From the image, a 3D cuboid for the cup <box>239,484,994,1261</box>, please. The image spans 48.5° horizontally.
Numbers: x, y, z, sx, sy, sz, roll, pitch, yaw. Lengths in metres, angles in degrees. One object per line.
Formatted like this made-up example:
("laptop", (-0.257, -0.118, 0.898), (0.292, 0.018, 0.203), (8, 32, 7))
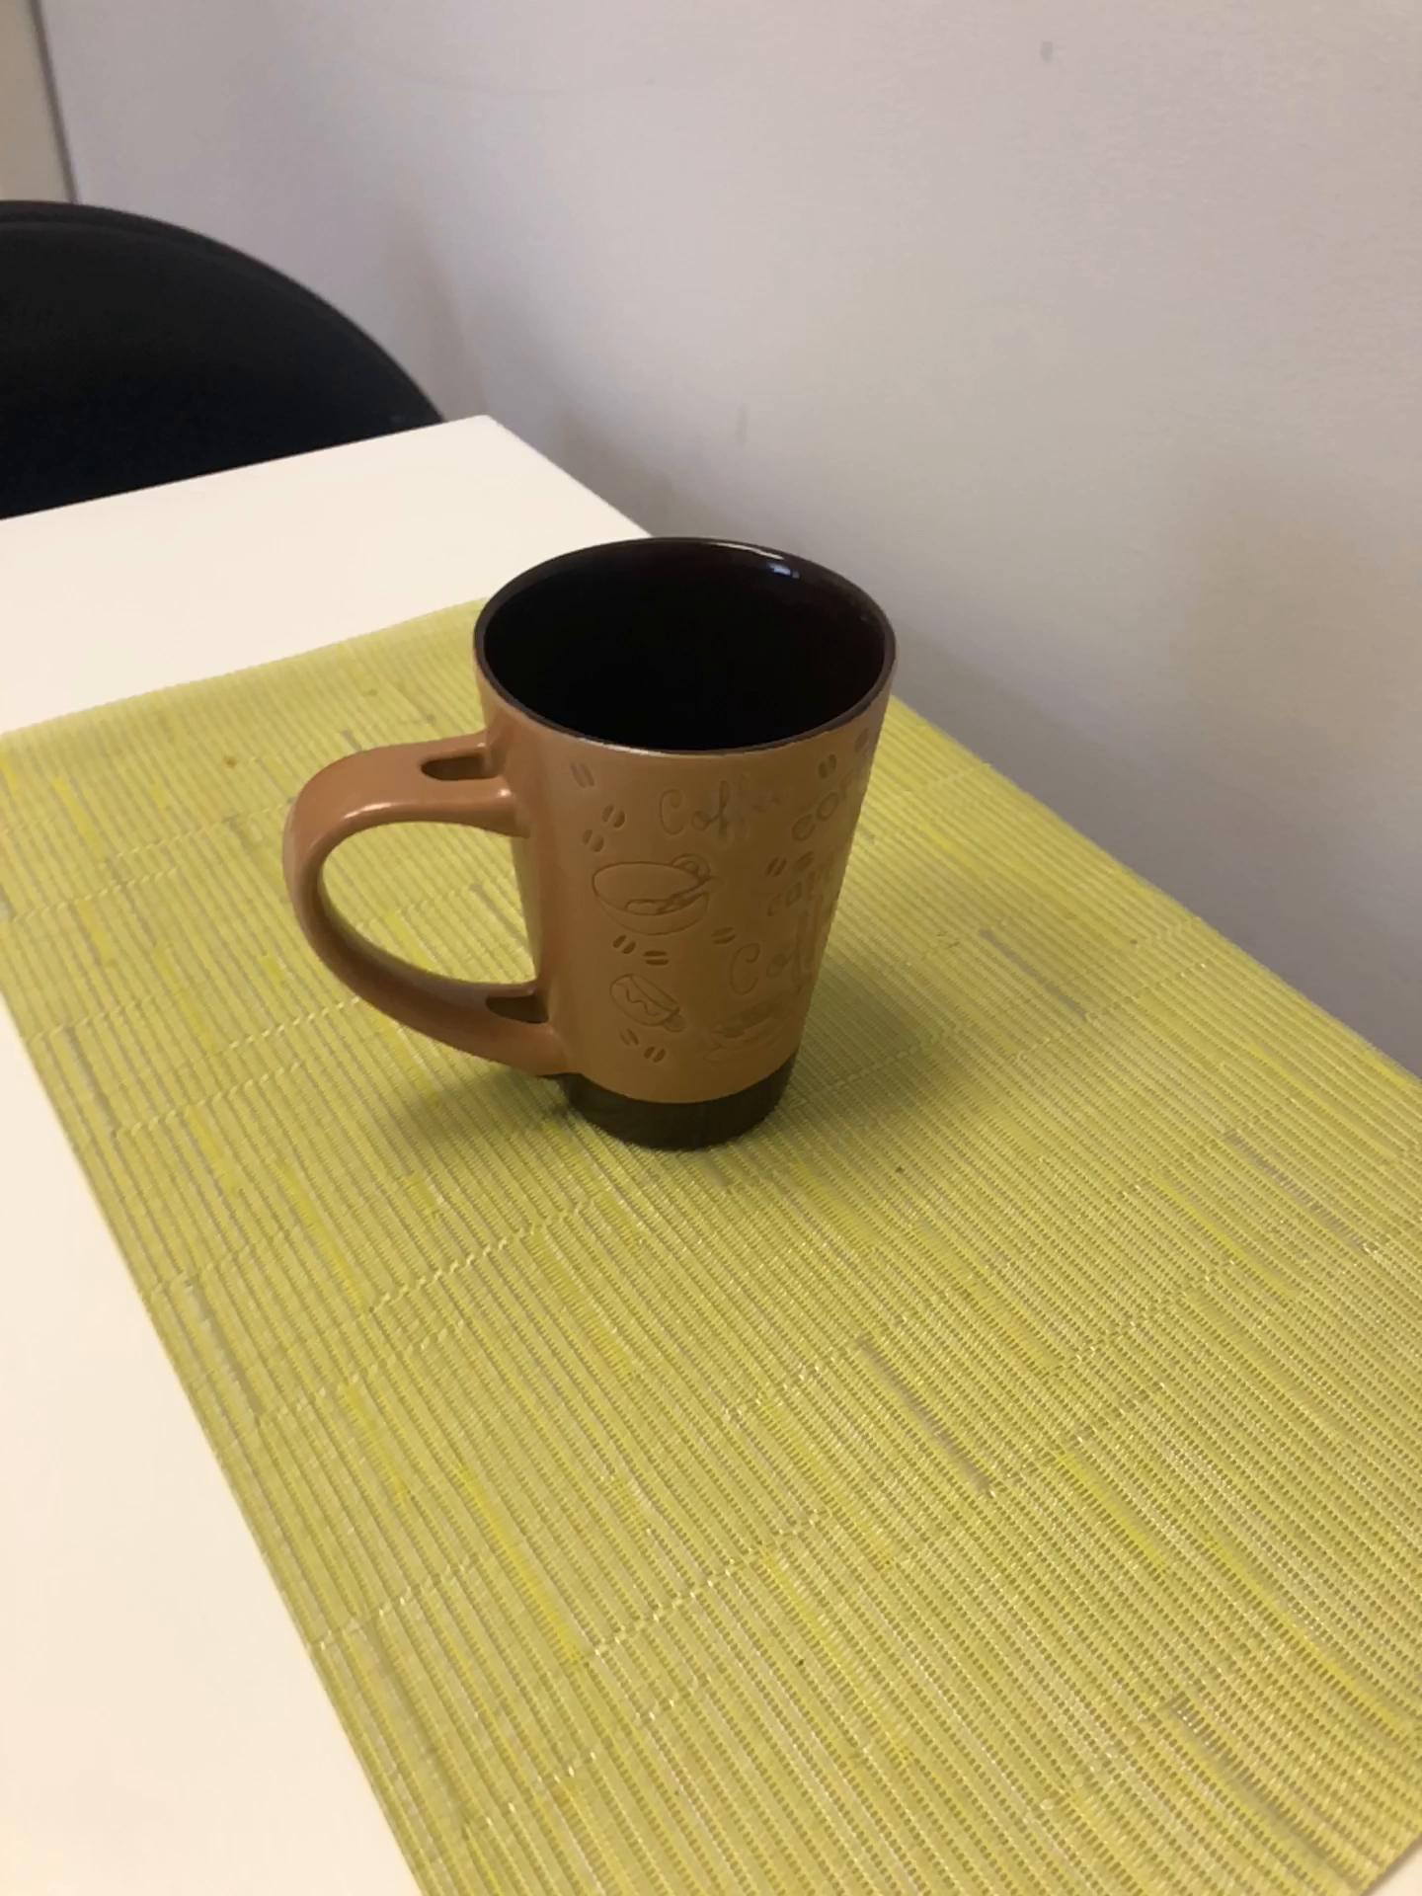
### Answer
("cup", (-0.024, -0.020, 0.350), (0.126, 0.119, 0.090), (-13, 43, -18))
